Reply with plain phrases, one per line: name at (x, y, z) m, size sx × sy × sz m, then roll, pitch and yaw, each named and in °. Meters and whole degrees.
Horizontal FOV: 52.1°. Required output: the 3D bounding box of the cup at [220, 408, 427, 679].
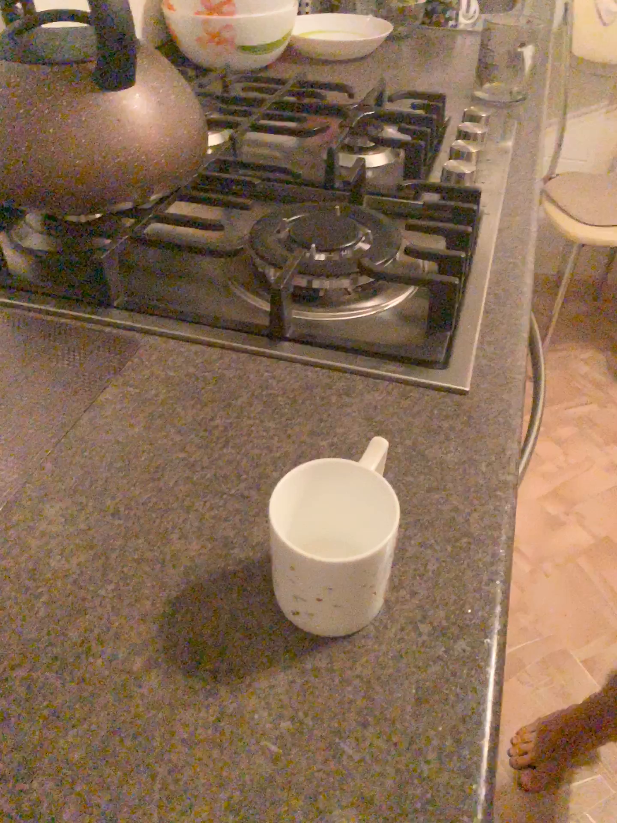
cup at (0.010, 0.060, 0.305) m, size 0.060 × 0.069 × 0.091 m, roll 18°, pitch 45°, yaw 19°
